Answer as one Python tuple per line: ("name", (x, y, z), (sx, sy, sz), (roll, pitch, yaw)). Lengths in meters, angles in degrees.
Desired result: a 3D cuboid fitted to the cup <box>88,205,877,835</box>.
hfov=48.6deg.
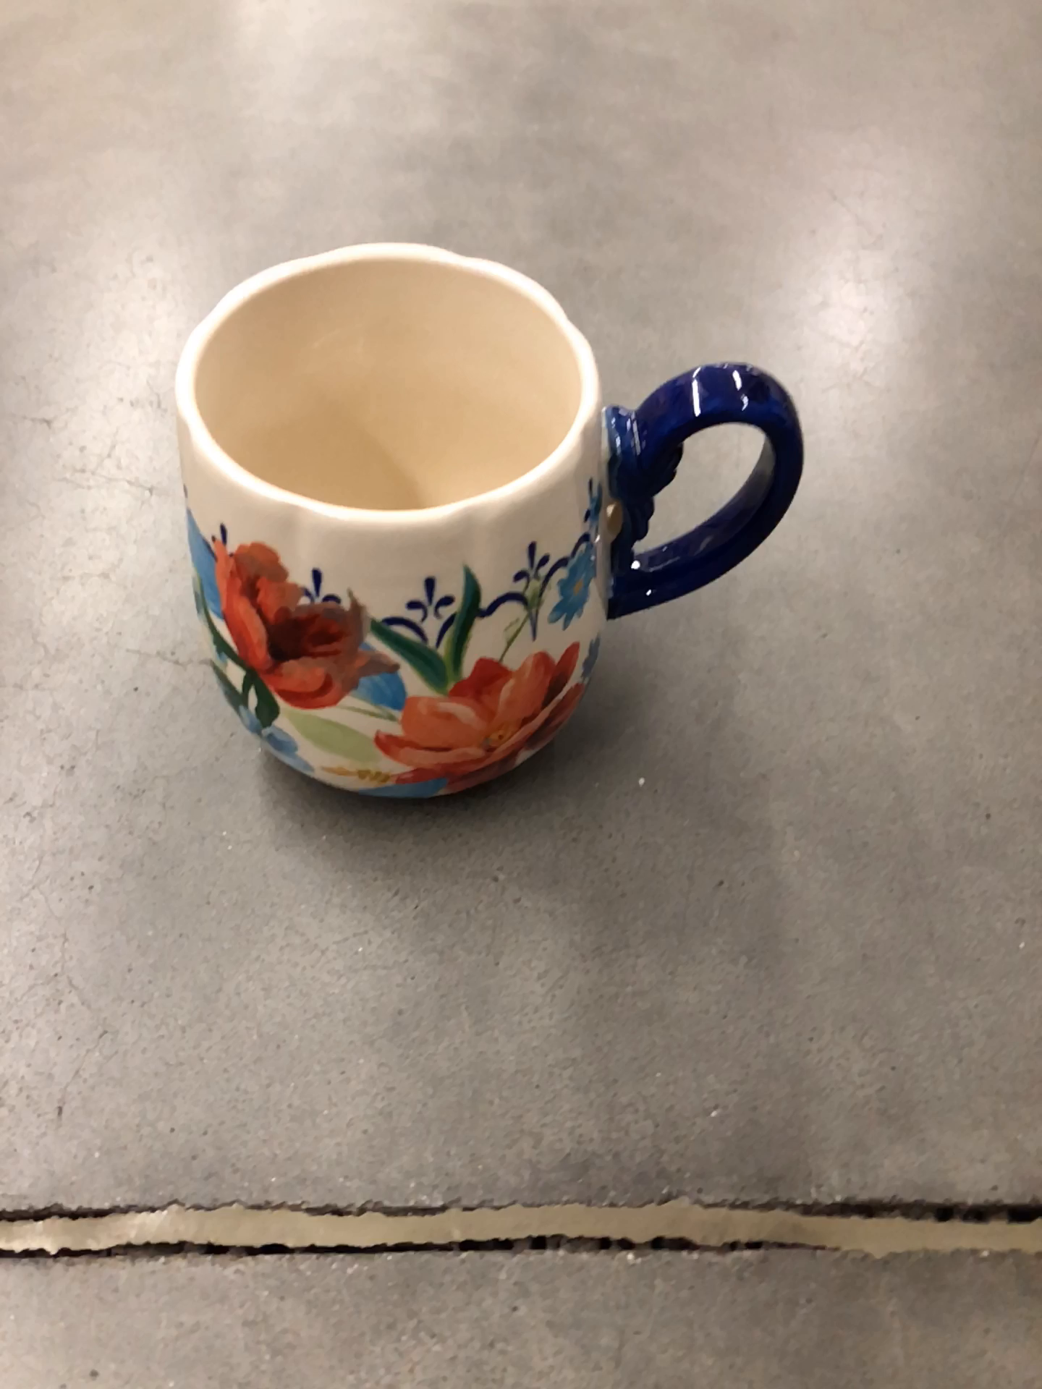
("cup", (-0.011, -0.039, 0.273), (0.140, 0.099, 0.101), (-3, 56, -4))
